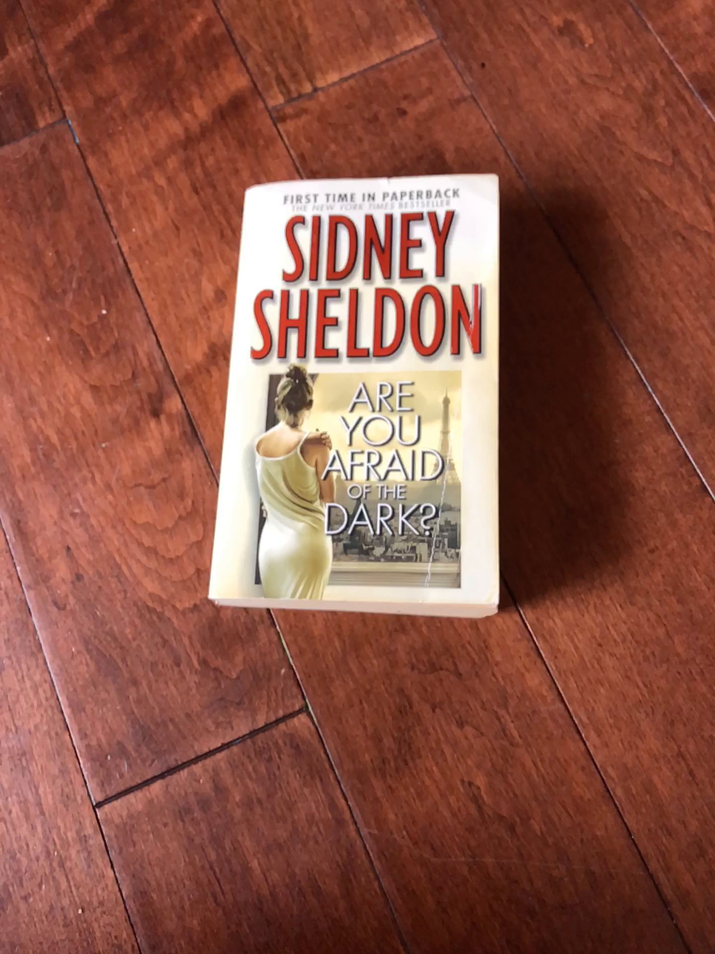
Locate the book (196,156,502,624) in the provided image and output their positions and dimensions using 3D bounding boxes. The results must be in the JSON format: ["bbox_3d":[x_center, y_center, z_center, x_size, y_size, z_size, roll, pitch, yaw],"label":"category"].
[{"bbox_3d":[0.002,-0.036,0.321,0.108,0.040,0.180,1,75,8],"label":"book"}]
